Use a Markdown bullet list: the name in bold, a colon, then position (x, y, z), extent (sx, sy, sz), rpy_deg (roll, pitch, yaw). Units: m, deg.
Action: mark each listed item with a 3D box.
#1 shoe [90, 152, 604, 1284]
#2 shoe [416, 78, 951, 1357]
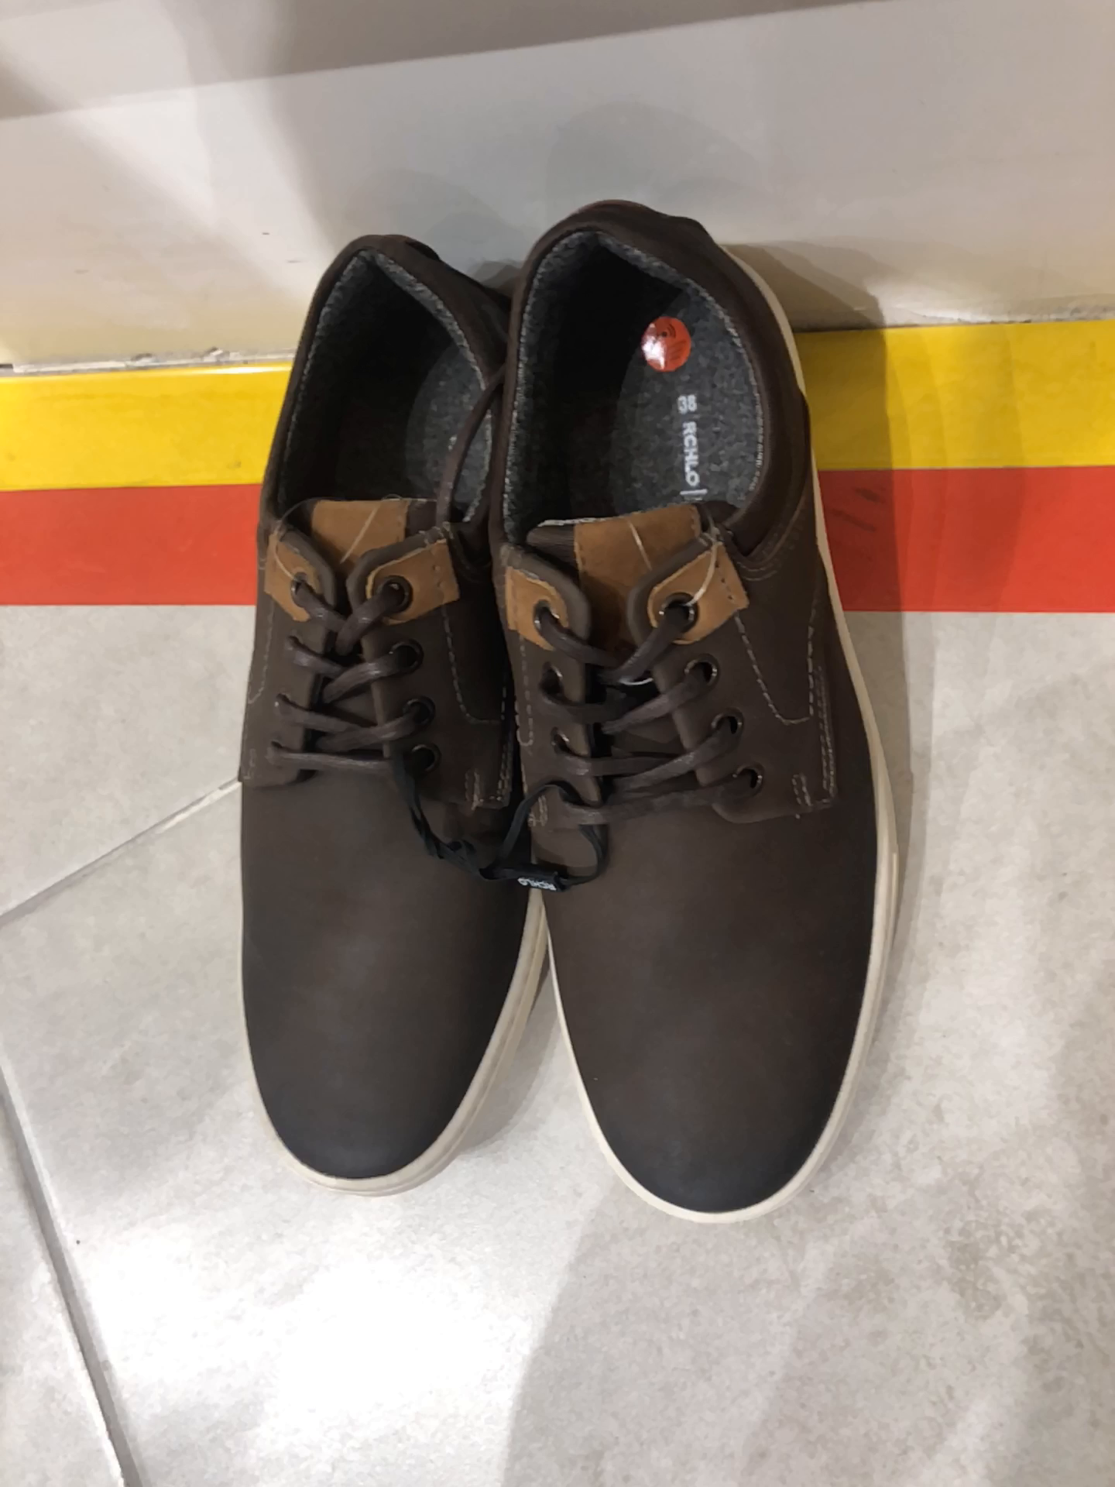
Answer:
- **shoe**: position (-0.053, -0.008, 0.357), extent (0.100, 0.100, 0.270), rpy_deg (2, 89, 16)
- **shoe**: position (0.038, -0.003, 0.322), extent (0.100, 0.100, 0.270), rpy_deg (-4, 90, 15)
